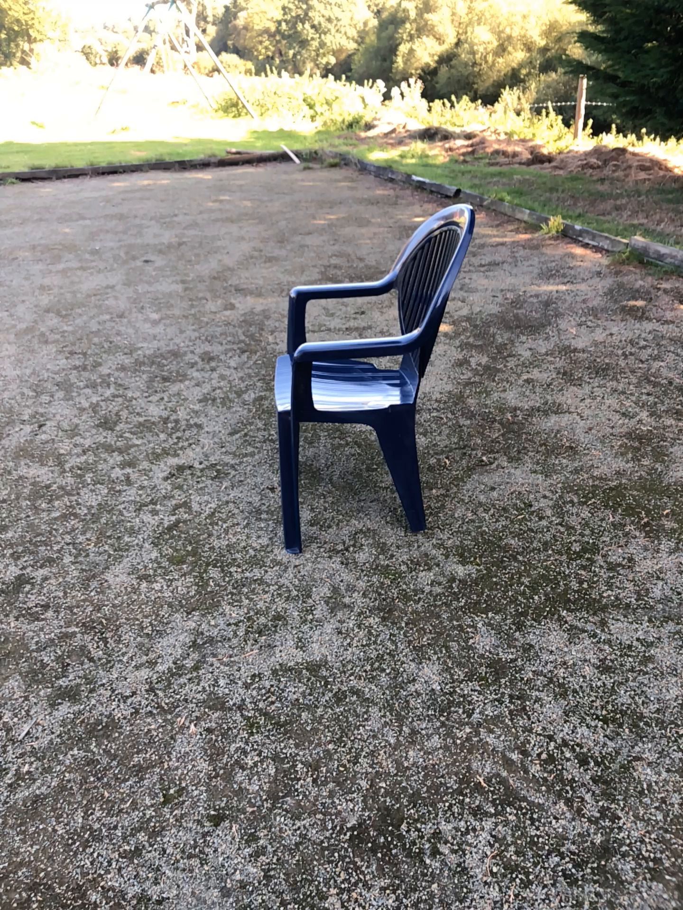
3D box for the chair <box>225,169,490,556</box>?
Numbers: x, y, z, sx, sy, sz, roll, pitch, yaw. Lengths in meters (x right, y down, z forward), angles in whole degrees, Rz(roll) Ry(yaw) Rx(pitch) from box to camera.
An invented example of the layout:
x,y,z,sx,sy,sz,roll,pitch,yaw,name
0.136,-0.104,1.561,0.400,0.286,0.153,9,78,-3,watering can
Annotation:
x,y,z,sx,sy,sz,roll,pitch,yaw,name
0.033,-0.275,2.052,0.570,0.855,0.593,-6,28,-4,chair
